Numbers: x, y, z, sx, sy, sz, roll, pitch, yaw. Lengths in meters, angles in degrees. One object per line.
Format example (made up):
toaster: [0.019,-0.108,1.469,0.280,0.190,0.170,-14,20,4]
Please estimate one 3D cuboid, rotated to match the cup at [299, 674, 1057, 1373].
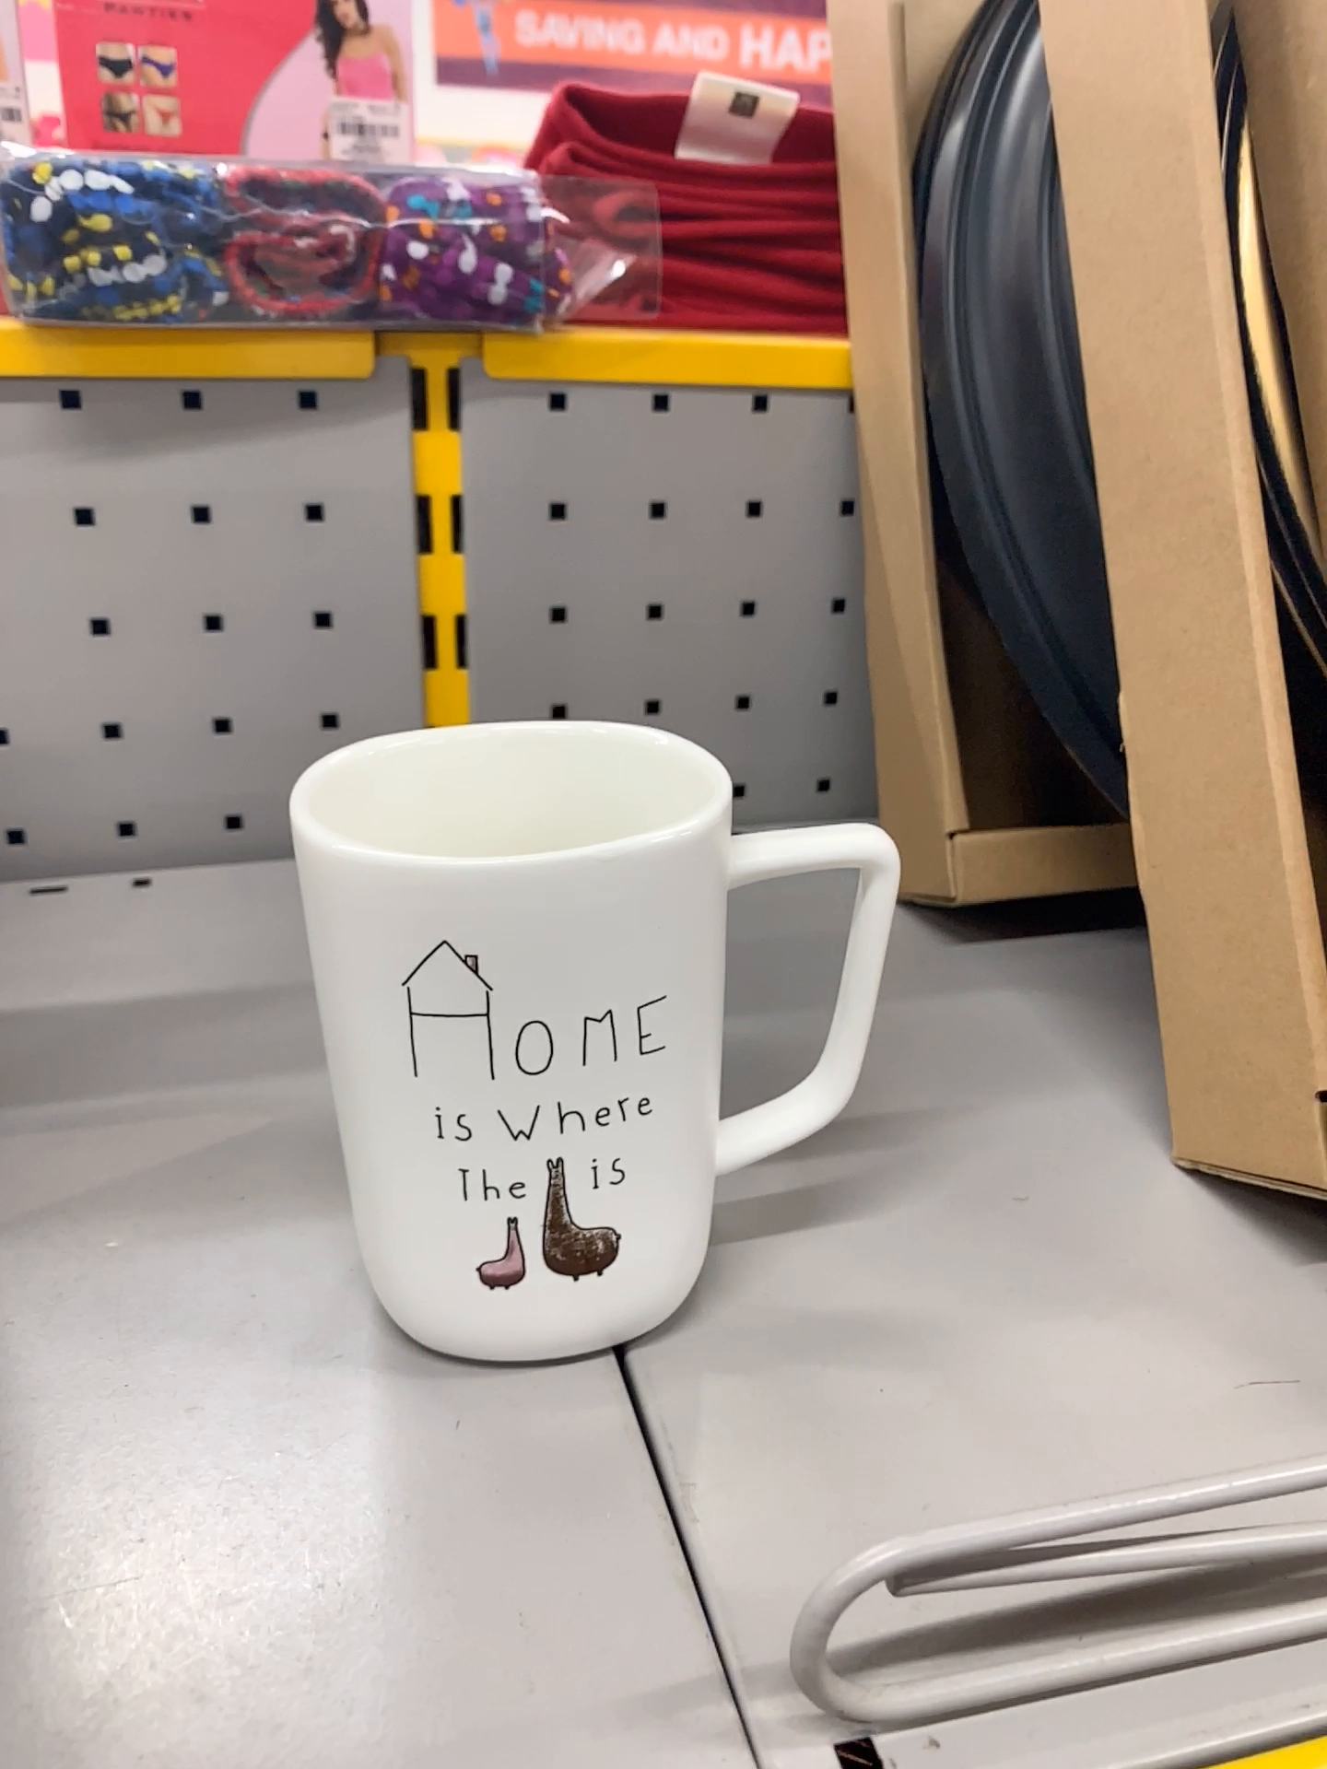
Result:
cup: [-0.003,0.020,0.264,0.120,0.100,0.070,-5,24,-15]
